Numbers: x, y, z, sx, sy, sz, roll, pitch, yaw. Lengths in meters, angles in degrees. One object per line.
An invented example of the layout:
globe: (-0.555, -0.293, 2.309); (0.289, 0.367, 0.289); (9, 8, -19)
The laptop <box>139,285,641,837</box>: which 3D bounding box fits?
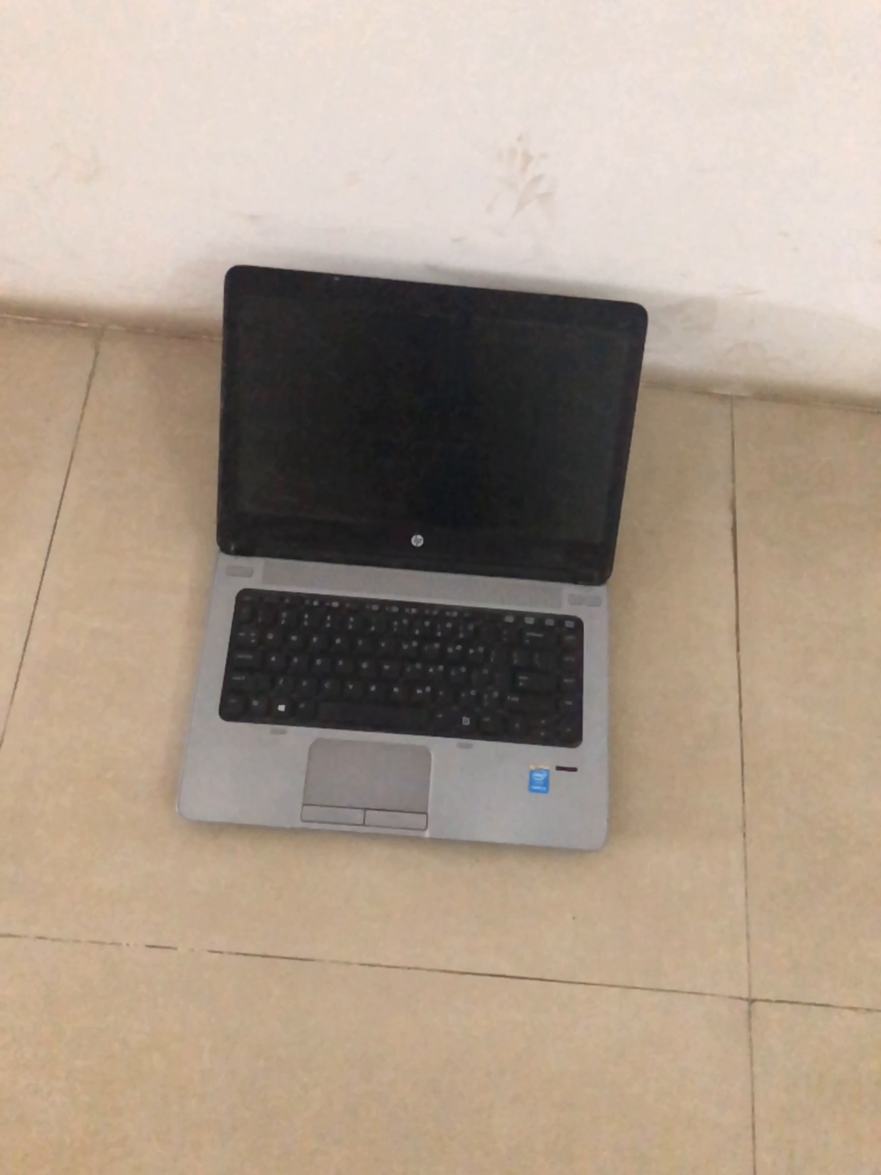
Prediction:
laptop: (-0.023, -0.021, 0.754); (0.318, 0.146, 0.386); (5, 67, -3)
